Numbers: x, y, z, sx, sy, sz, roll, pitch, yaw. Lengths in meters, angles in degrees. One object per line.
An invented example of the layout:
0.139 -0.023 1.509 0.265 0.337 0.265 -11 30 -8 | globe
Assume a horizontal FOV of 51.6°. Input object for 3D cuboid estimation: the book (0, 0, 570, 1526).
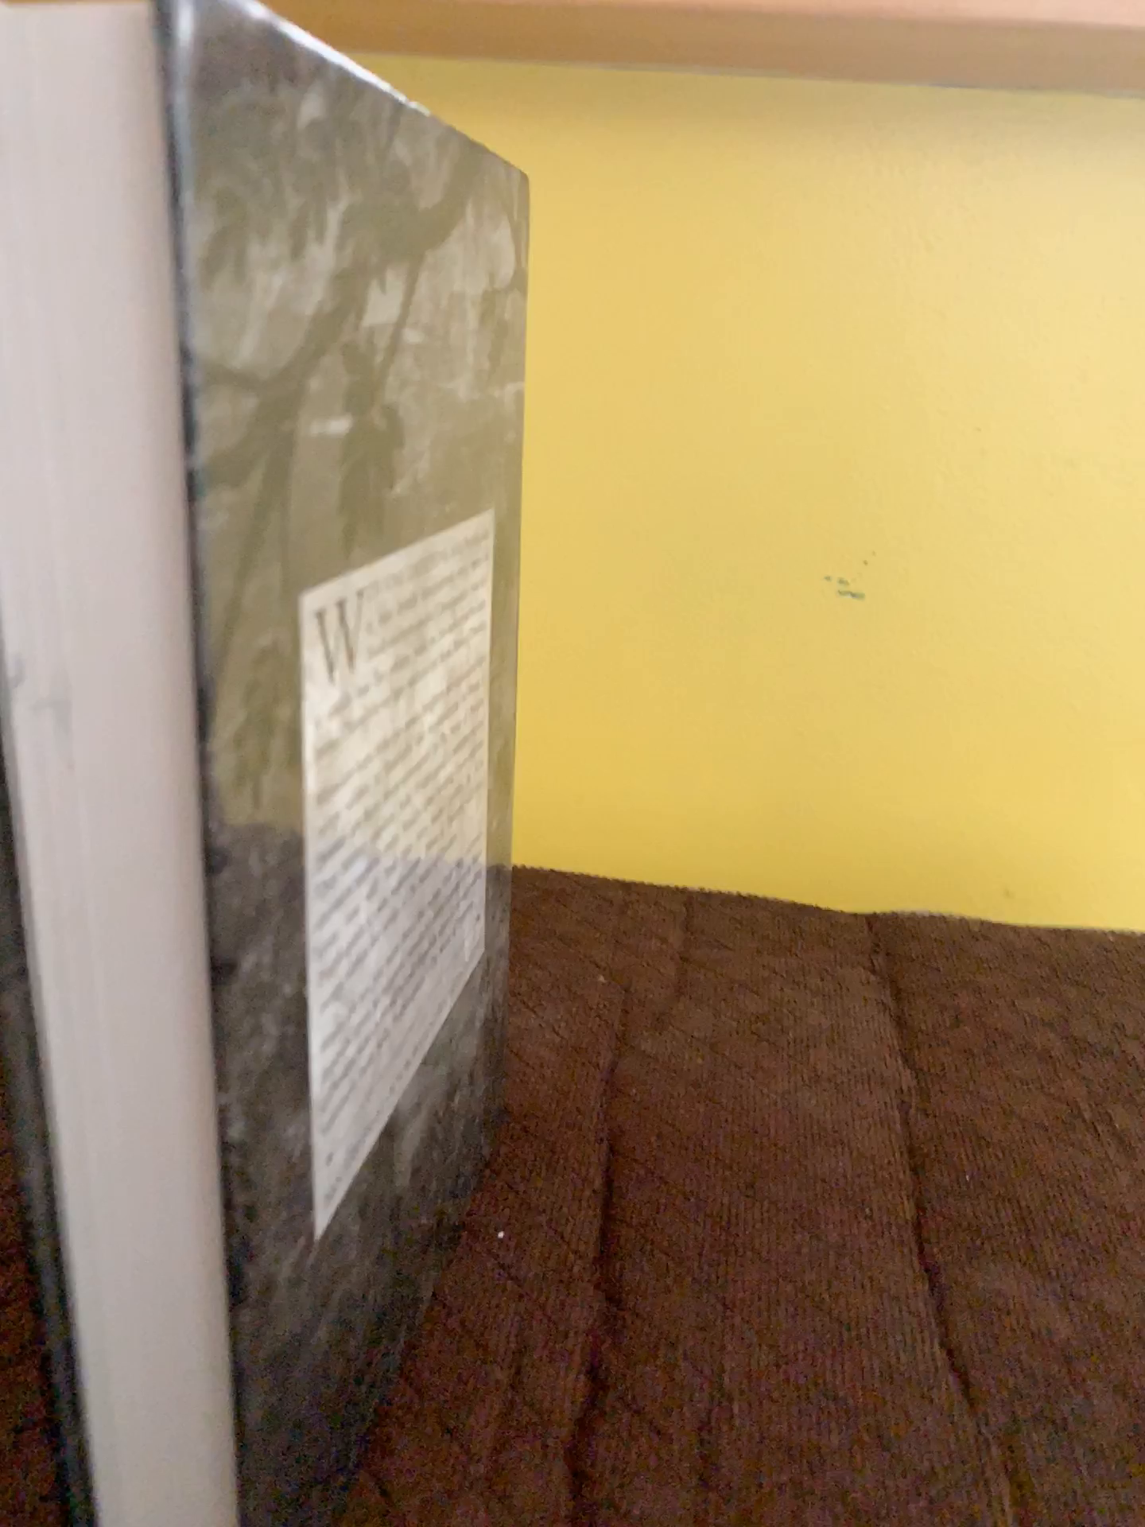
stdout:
-0.042 0.006 0.199 0.040 0.229 0.161 5 18 13 | book
